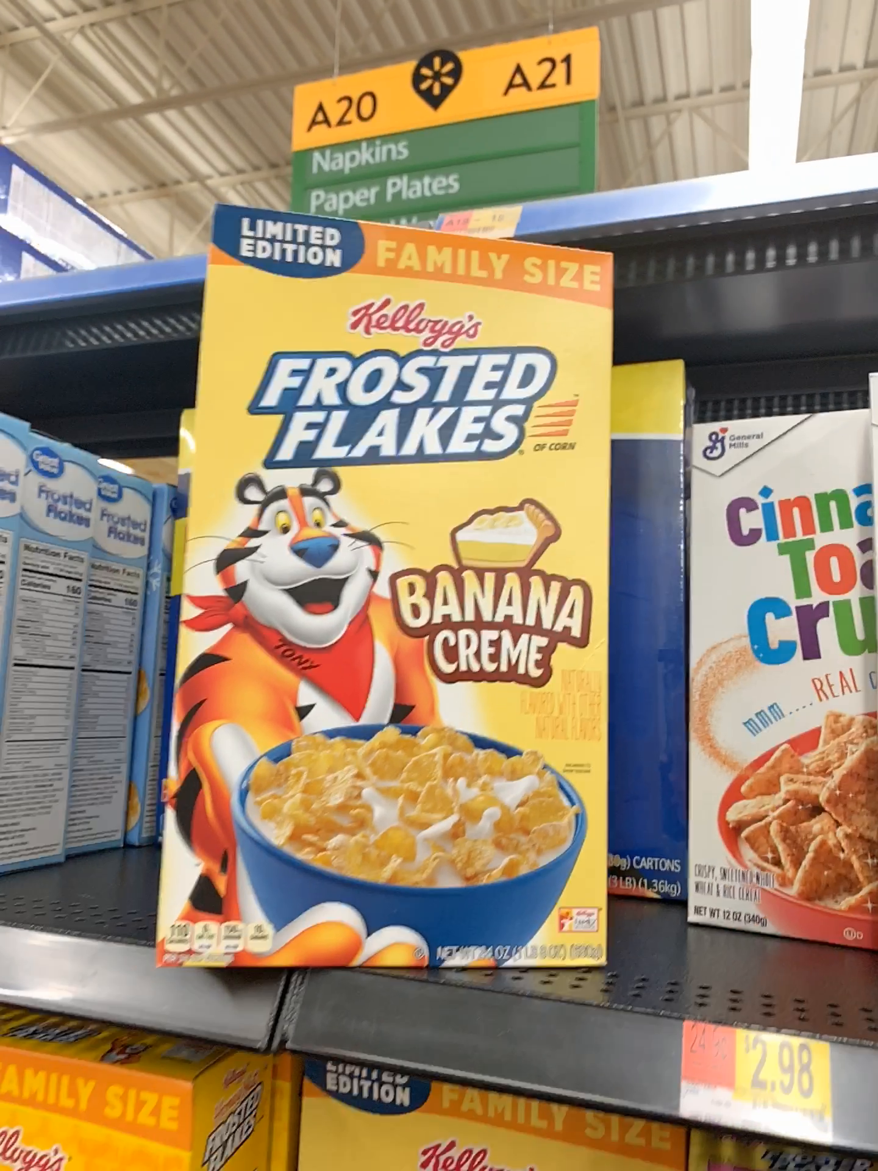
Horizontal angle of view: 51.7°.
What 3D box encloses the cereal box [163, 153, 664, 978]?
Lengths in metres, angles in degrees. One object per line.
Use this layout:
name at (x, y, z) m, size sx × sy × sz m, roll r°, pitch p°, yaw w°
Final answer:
cereal box at (-0.007, -0.008, 0.426) m, size 0.200 × 0.341 × 0.080 m, roll 4°, pitch -8°, yaw -10°
